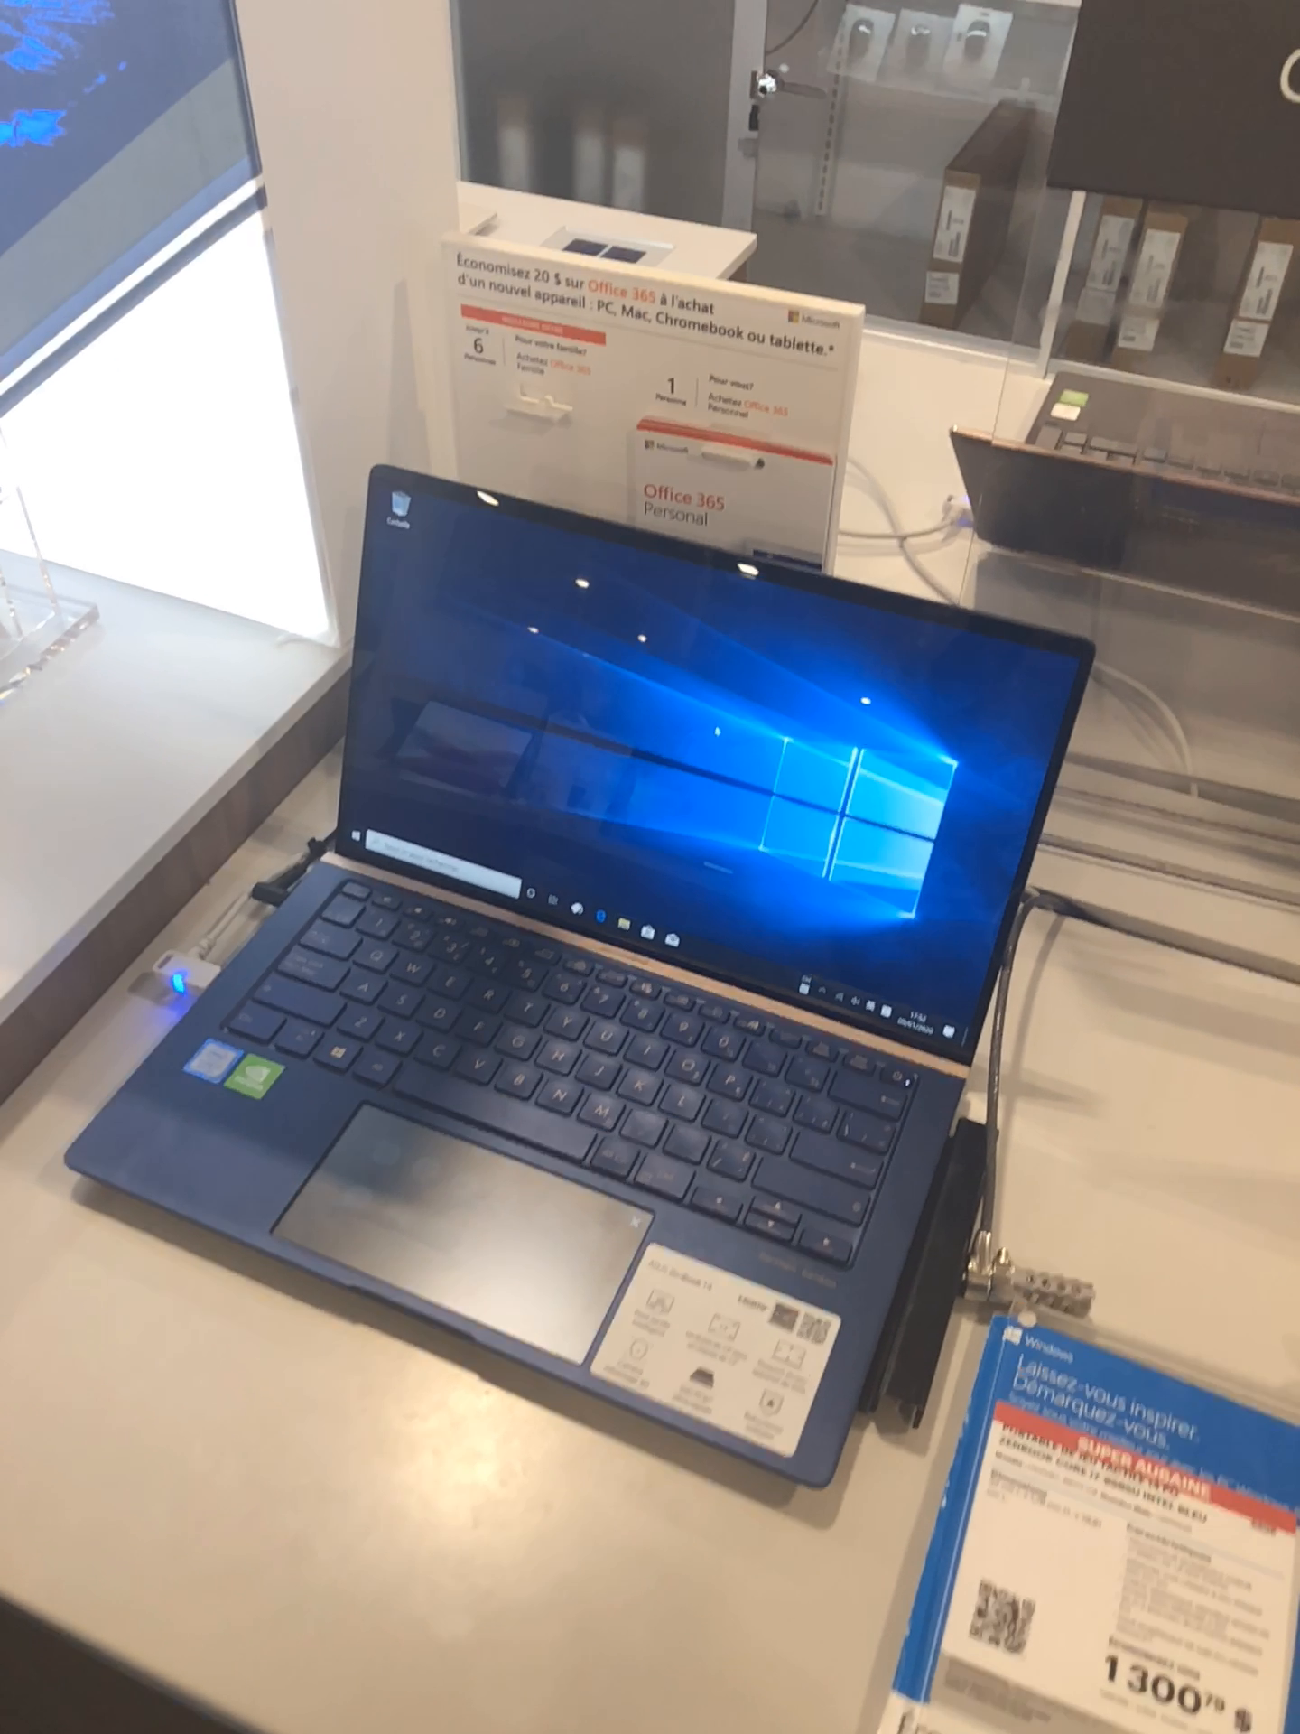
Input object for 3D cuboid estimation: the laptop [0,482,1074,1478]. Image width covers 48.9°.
[{"bbox_3d":[-0.035,0.018,0.544,0.309,0.179,0.254,18,43,15],"label":"laptop"}]
